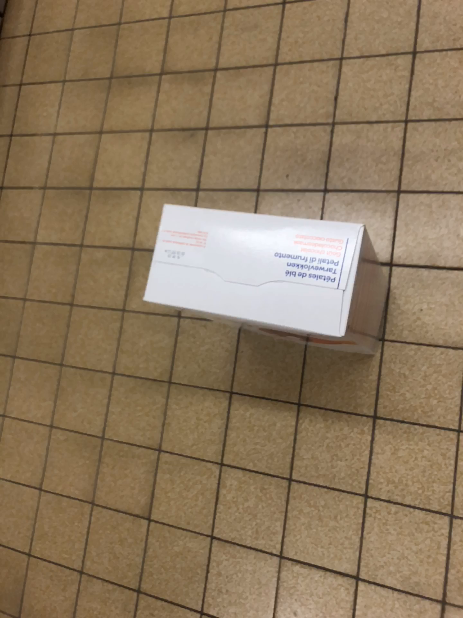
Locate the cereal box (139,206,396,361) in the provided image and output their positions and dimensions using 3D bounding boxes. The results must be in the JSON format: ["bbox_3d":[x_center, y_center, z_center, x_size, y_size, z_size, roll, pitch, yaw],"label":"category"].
[{"bbox_3d":[0.066,-0.015,0.574,0.200,0.290,0.100,7,84,22],"label":"cereal box"}]
